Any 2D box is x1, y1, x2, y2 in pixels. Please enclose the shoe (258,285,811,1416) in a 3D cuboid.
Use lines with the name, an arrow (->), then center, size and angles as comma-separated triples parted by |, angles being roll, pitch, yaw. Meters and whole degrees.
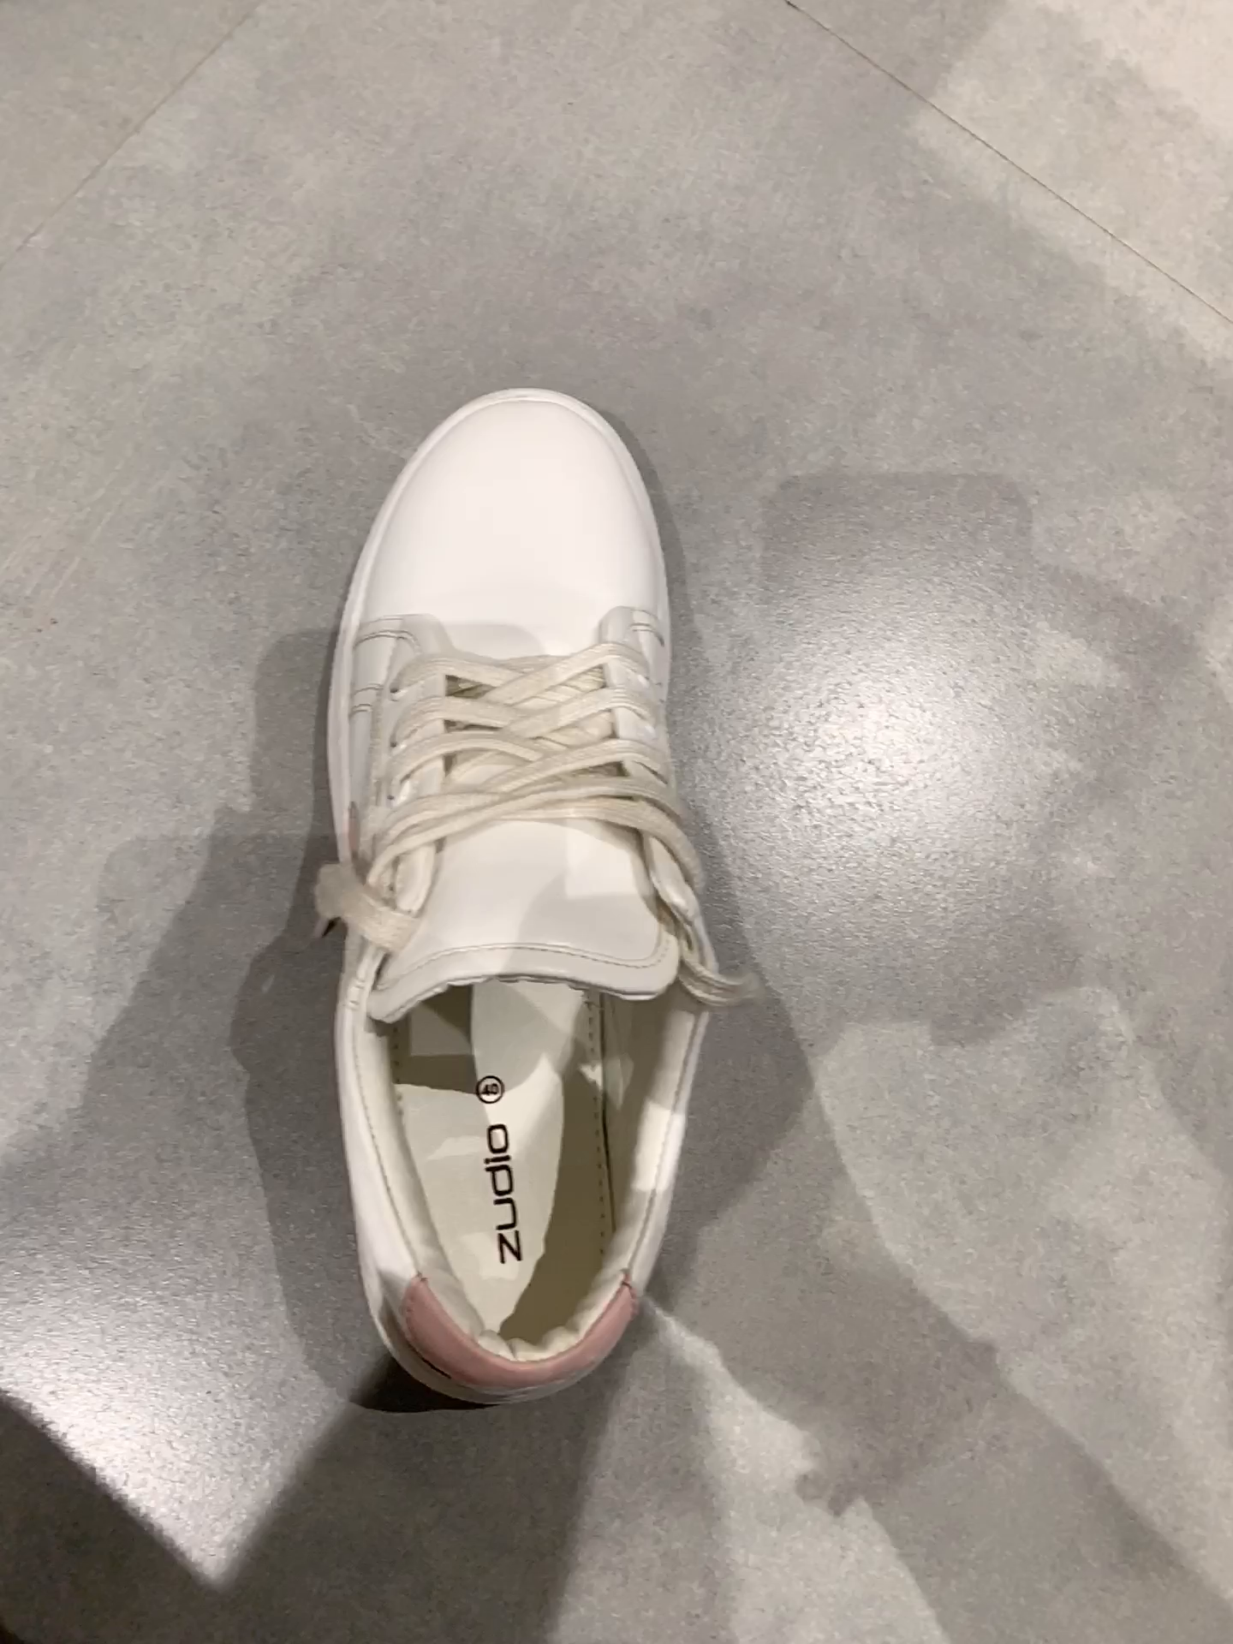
shoe -> -0.024, 0.005, 0.329 | 0.110, 0.100, 0.250 | 0, 77, -7
